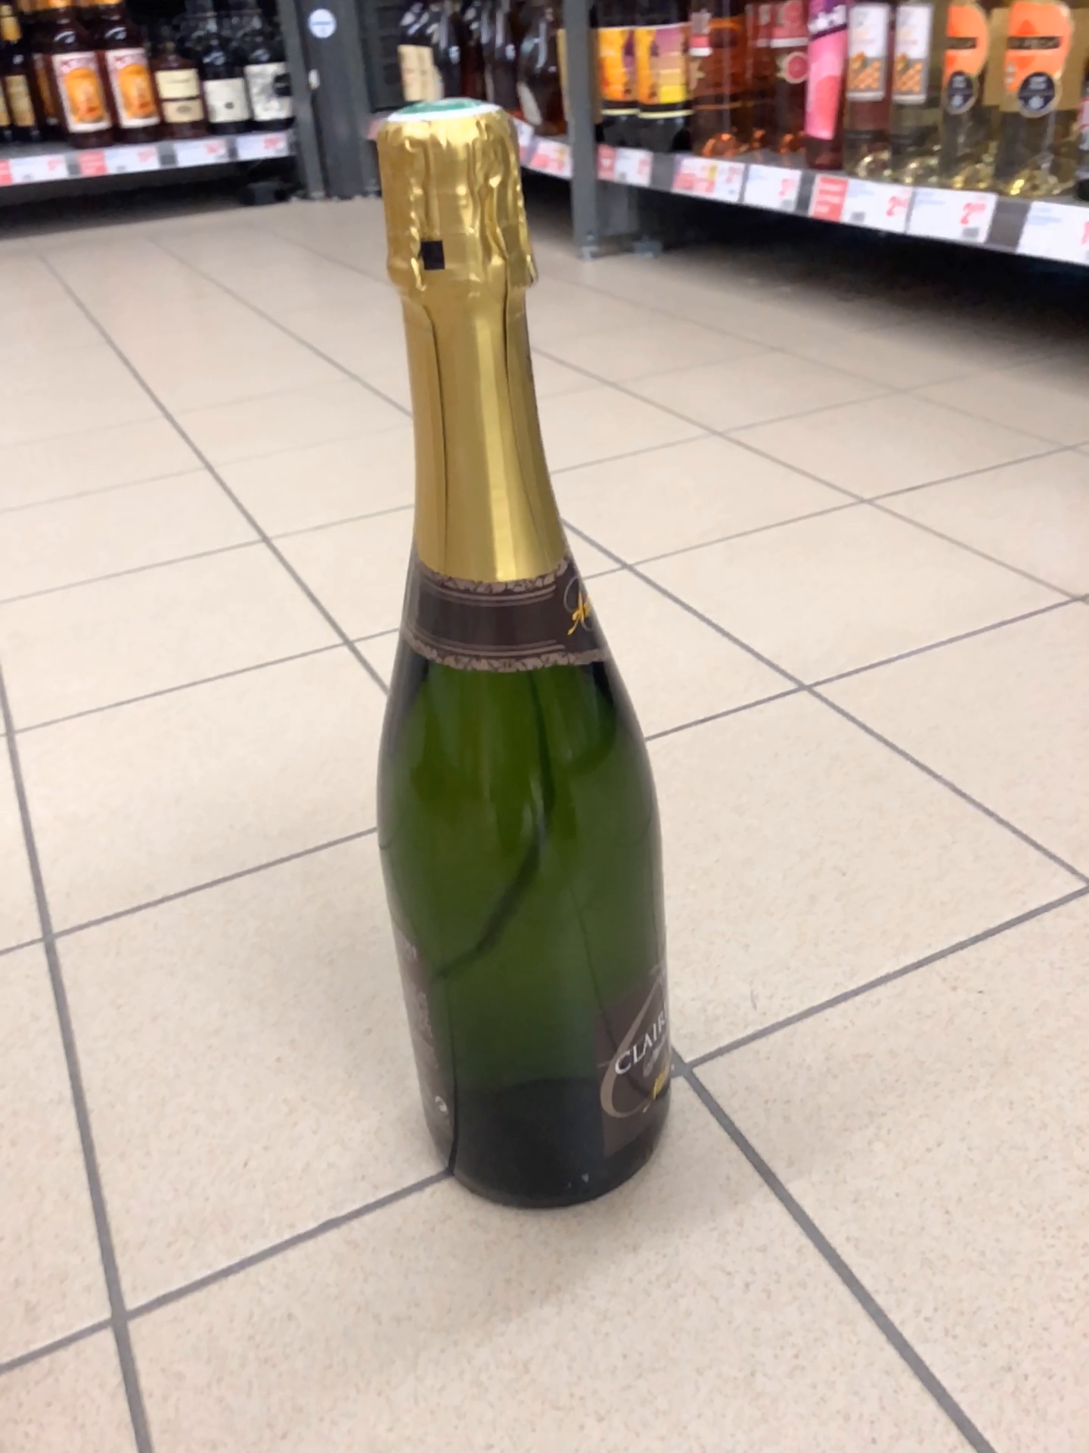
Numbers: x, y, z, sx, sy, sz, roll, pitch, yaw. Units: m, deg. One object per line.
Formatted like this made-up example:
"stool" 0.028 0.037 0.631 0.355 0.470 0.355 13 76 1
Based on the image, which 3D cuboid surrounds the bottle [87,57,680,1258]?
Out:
"bottle" -0.017 -0.001 0.338 0.100 0.318 0.101 -4 30 2
